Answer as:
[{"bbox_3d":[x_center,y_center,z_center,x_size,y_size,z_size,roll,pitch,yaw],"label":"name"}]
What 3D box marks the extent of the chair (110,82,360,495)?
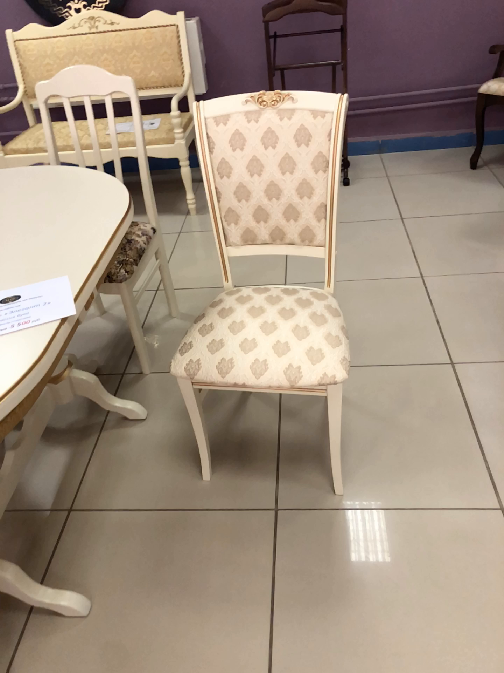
[{"bbox_3d":[0.045,-0.100,1.477,0.448,0.944,0.483,2,37,13],"label":"chair"}]
